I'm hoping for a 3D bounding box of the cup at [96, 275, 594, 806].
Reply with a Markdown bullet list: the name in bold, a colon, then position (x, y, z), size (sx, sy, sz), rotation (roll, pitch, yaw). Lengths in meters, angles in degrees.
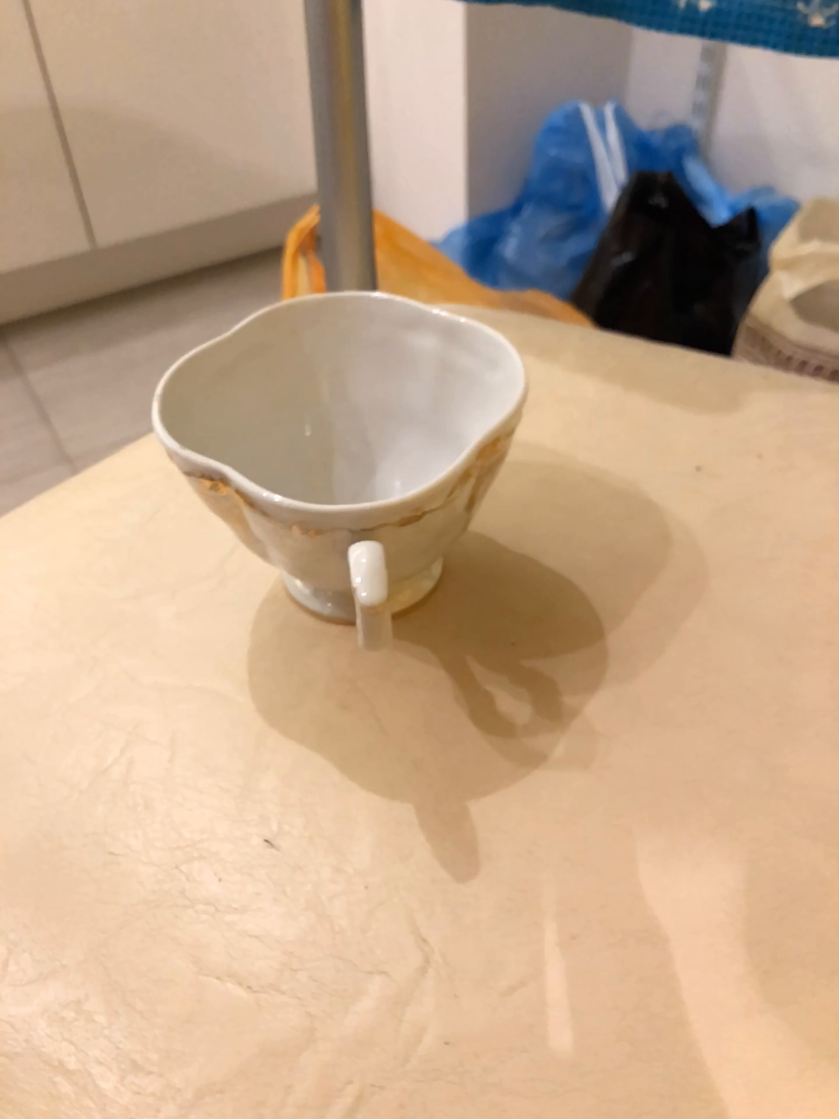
- **cup**: position (-0.019, -0.014, 0.261), size (0.100, 0.064, 0.140), rotation (-5, 43, -2)
